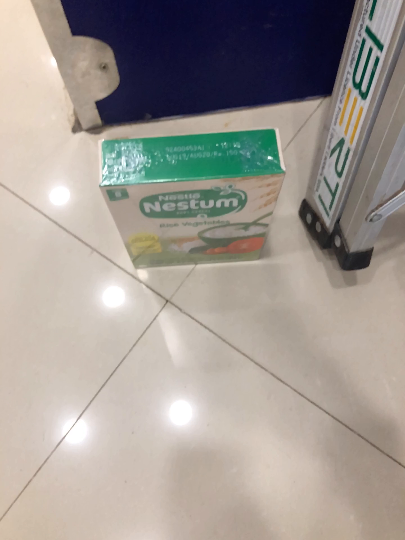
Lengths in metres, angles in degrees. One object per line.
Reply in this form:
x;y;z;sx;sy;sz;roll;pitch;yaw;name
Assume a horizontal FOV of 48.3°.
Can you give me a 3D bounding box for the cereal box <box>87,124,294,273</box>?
-0.011;-0.058;0.446;0.160;0.190;0.050;-4;70;-2;cereal box
